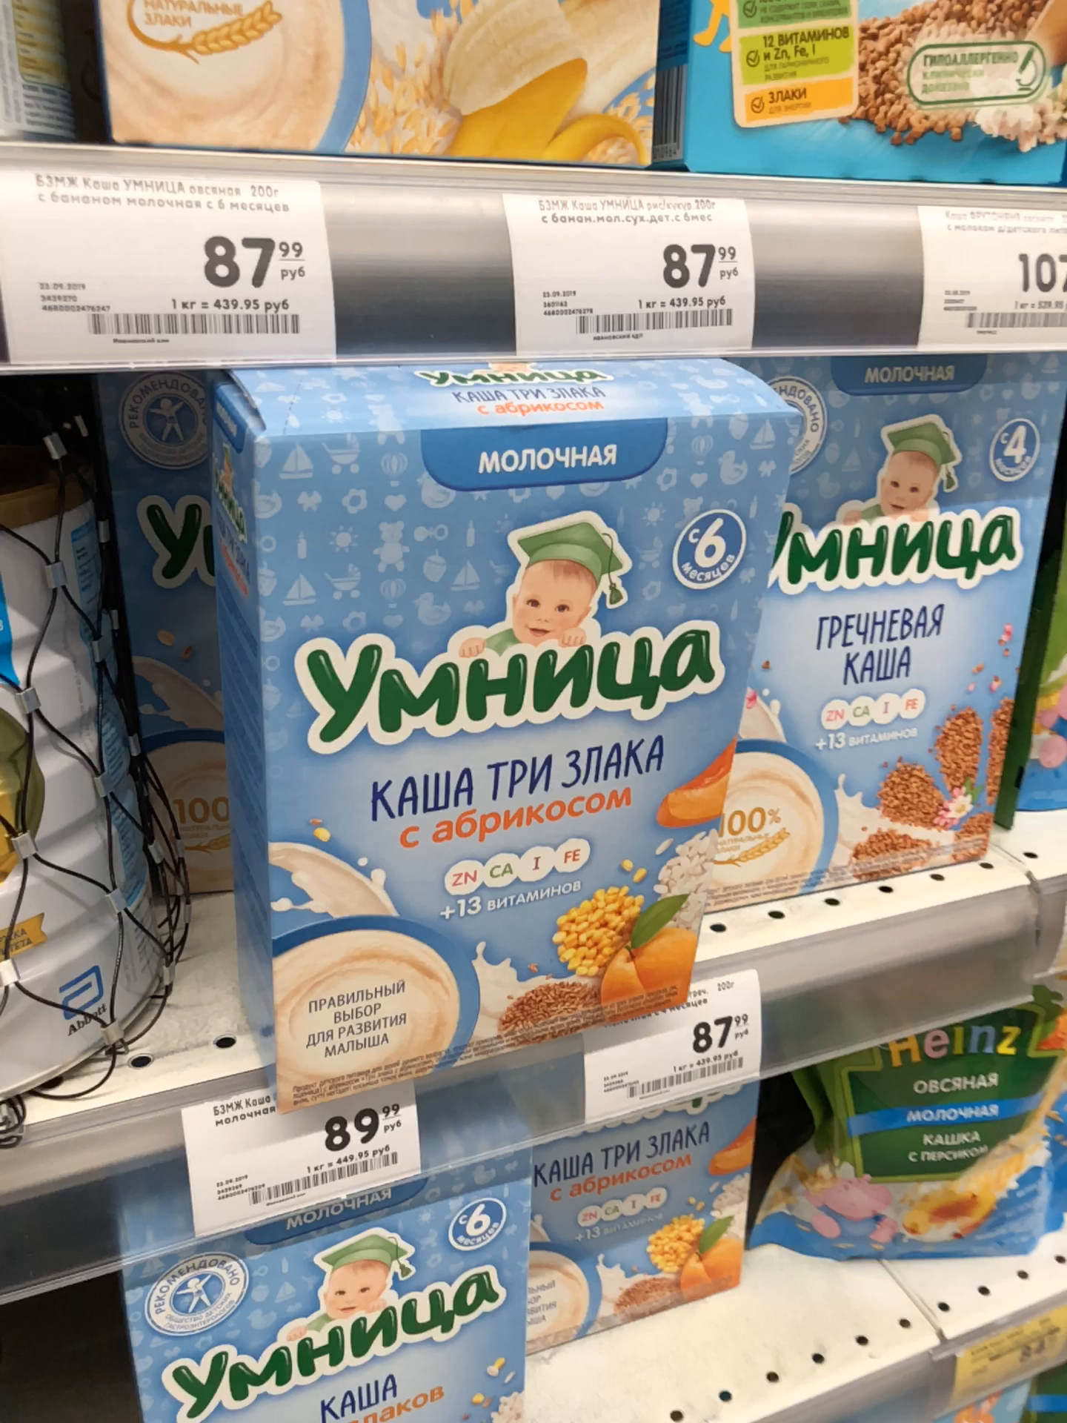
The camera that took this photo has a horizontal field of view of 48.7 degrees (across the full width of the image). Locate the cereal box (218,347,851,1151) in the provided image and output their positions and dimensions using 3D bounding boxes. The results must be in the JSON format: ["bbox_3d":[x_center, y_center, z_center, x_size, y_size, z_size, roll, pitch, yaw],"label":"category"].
[{"bbox_3d":[-0.009,0.011,0.334,0.140,0.209,0.060,-8,32,-22],"label":"cereal box"}]
